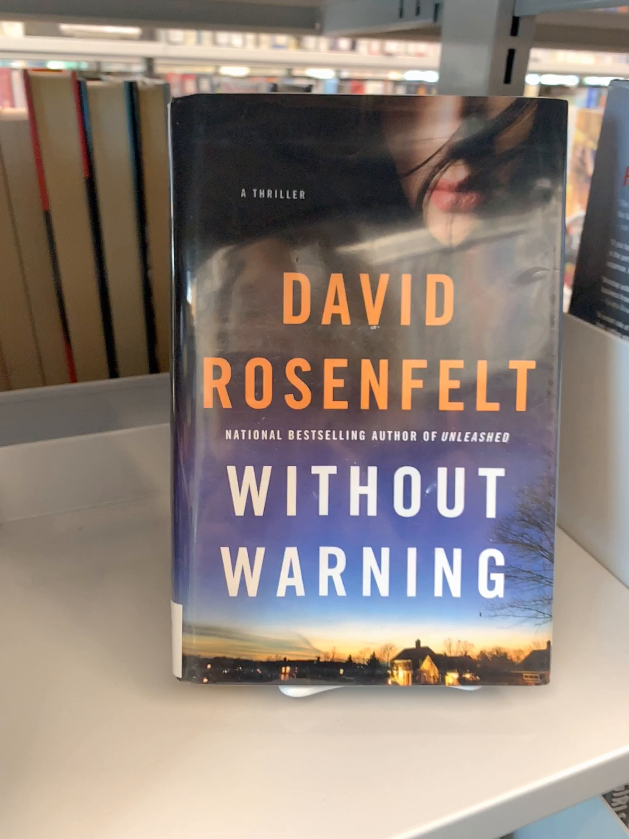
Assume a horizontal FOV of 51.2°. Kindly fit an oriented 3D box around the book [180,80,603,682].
[{"bbox_3d":[0.026,-0.011,0.272,0.157,0.230,0.035,1,6,-1],"label":"book"}]
